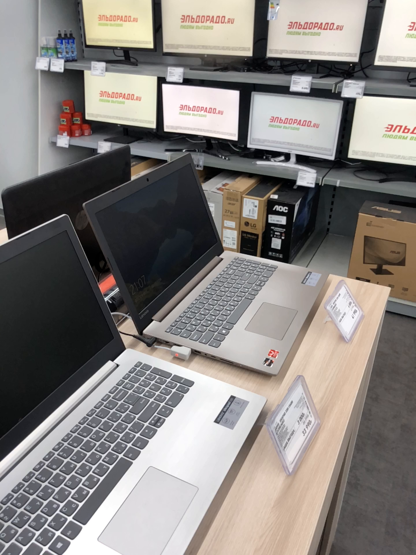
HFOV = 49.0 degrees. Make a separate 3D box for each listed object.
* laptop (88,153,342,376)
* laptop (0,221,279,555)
[{"bbox_3d":[0.033,-0.060,0.843,0.328,0.209,0.352,14,32,21],"label":"laptop"},{"bbox_3d":[-0.138,0.113,0.515,0.323,0.207,0.344,13,30,21],"label":"laptop"}]
